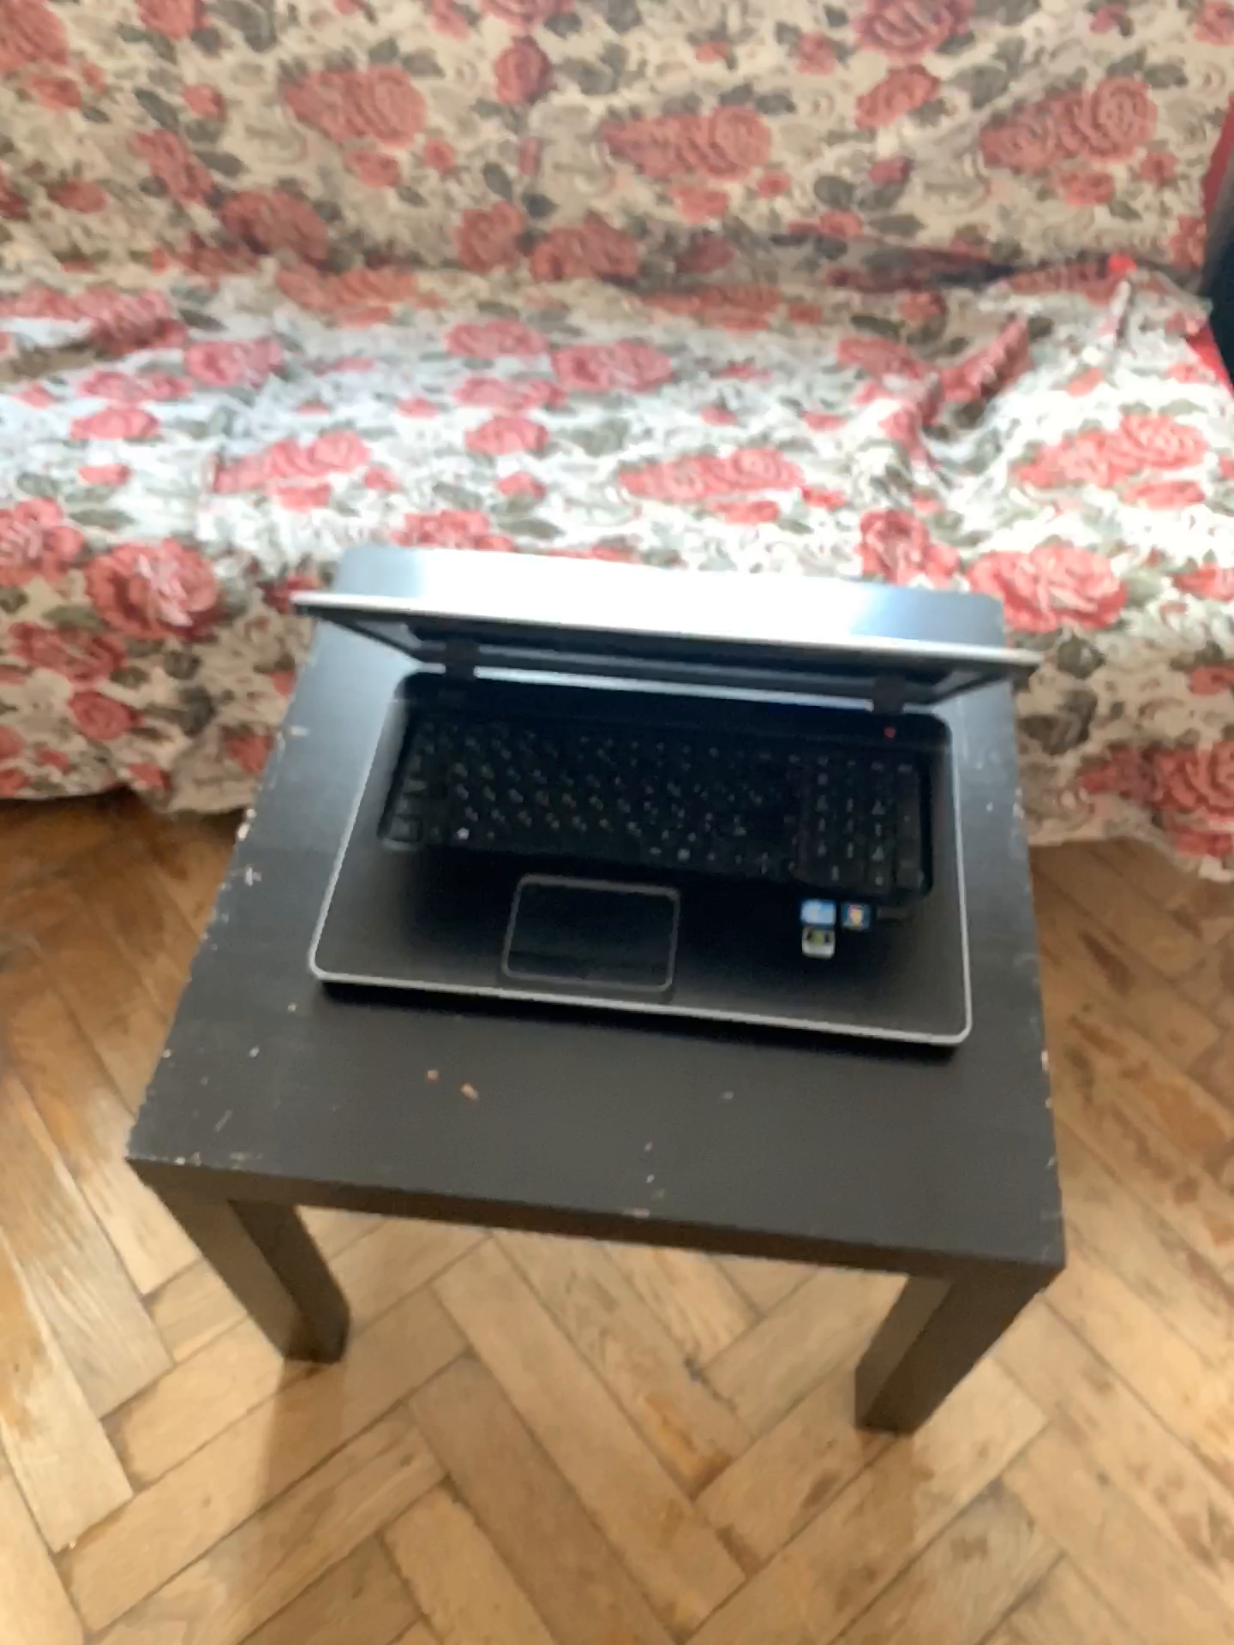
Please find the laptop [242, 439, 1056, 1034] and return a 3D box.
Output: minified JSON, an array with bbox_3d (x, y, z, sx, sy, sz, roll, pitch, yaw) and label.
[{"bbox_3d":[0.026,-0.055,0.786,0.404,0.201,0.258,5,53,3],"label":"laptop"}]
